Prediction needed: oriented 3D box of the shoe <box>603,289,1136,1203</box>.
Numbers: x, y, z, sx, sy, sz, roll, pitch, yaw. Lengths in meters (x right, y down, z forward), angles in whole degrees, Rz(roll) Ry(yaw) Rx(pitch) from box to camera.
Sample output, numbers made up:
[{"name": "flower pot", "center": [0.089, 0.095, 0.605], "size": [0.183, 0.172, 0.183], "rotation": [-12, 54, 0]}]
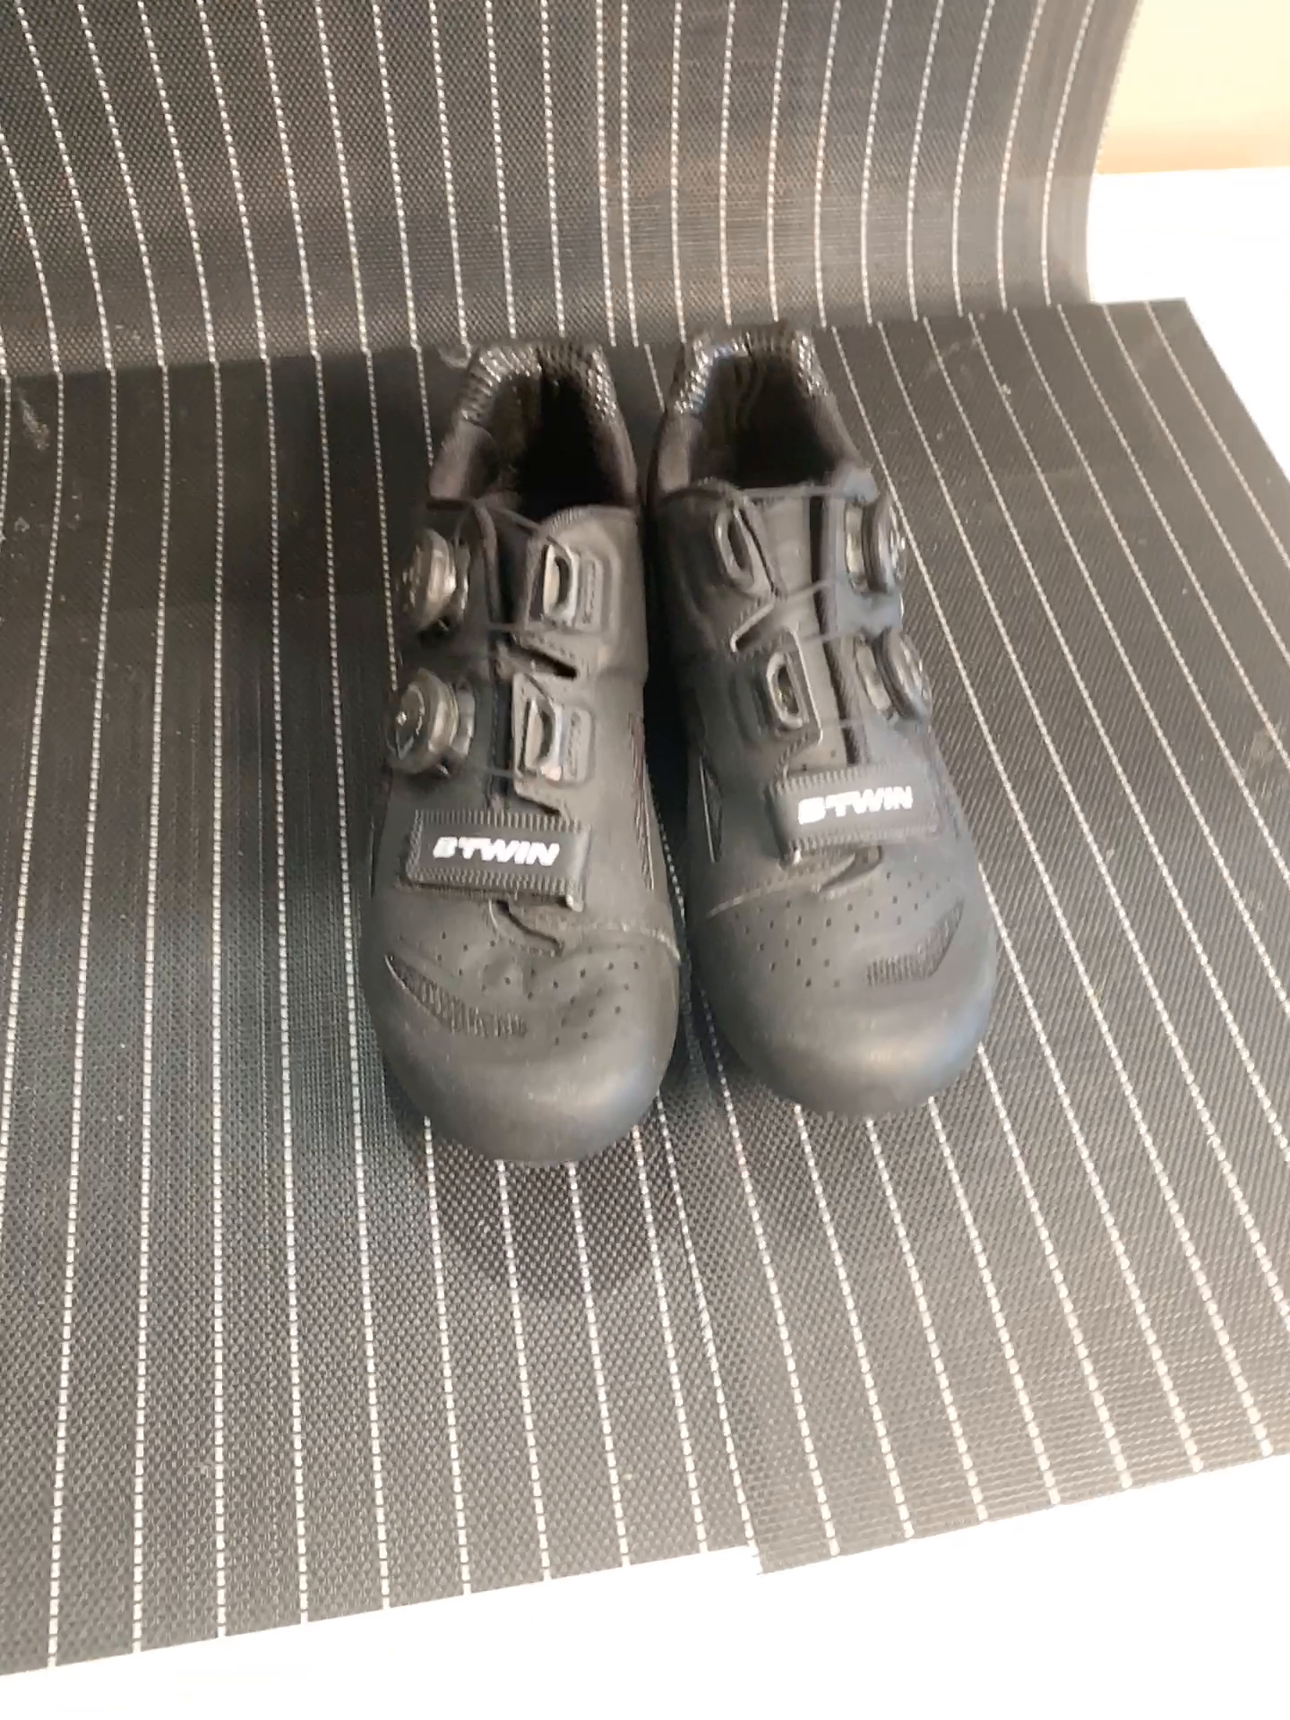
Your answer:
[{"name": "shoe", "center": [0.049, -0.046, 0.407], "size": [0.100, 0.090, 0.271], "rotation": [-4, 61, -5]}]

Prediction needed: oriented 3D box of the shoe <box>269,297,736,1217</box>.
[{"name": "shoe", "center": [-0.037, -0.039, 0.389], "size": [0.100, 0.090, 0.261], "rotation": [-1, 61, -3]}]
